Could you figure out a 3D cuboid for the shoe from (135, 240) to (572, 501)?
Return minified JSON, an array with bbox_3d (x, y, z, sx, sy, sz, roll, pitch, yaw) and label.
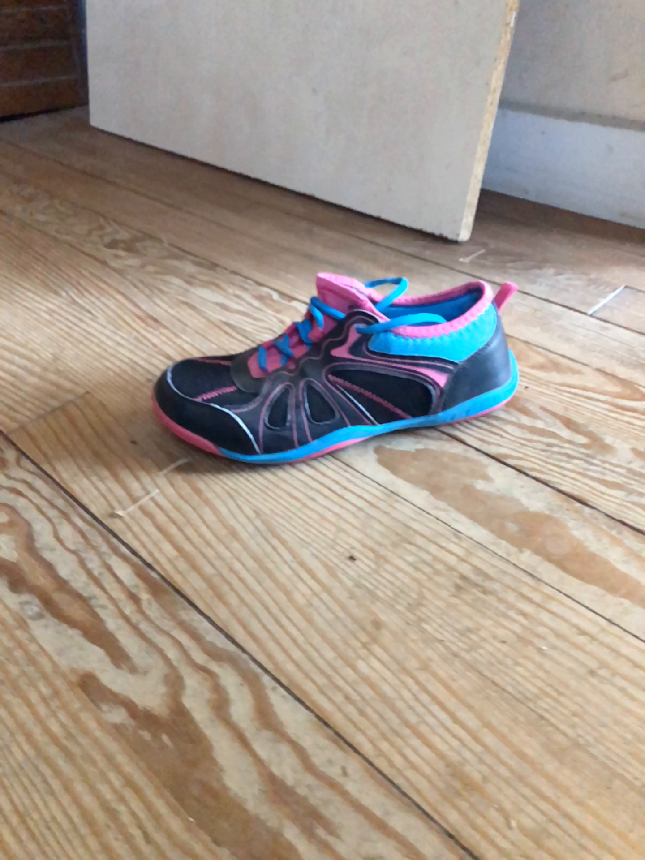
[{"bbox_3d":[0.015,-0.046,0.488,0.260,0.099,0.111,-9,39,-7],"label":"shoe"}]
